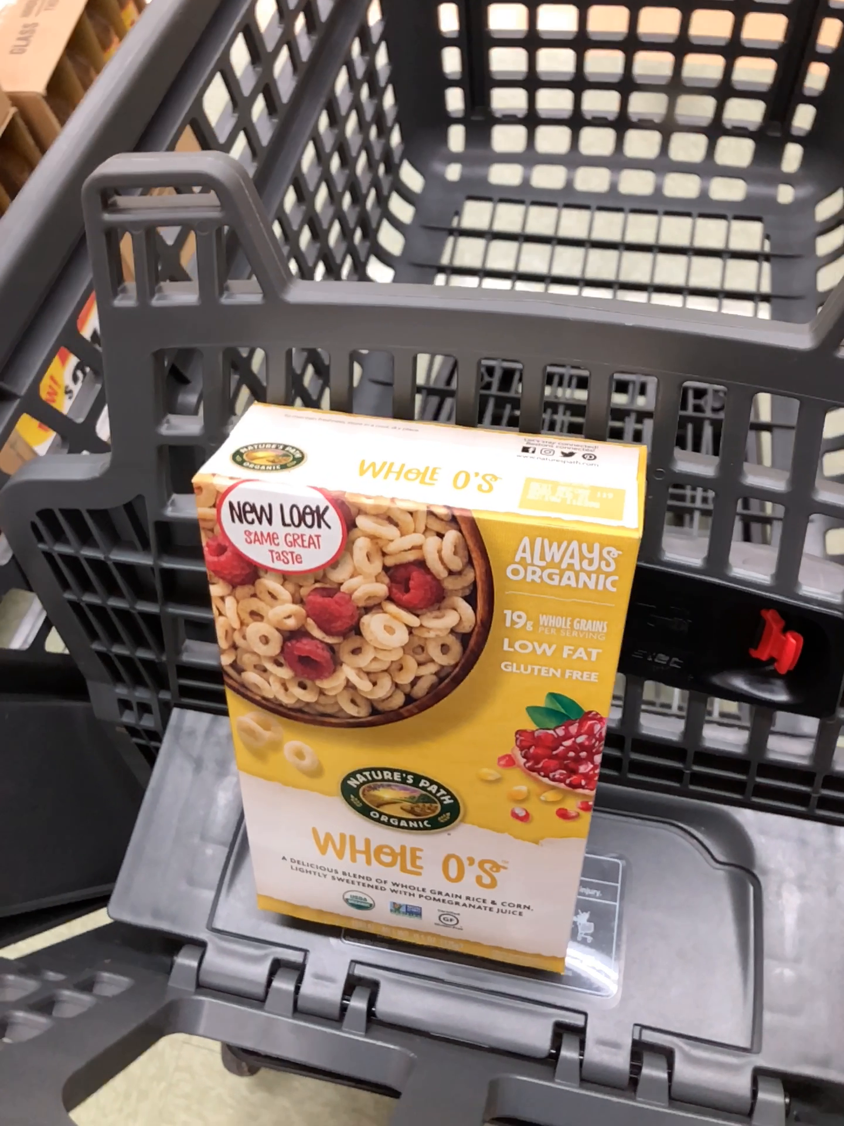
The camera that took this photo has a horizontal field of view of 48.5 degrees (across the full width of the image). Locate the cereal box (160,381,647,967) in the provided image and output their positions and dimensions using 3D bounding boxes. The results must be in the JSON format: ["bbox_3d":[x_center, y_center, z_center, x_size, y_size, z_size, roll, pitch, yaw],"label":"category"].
[{"bbox_3d":[-0.005,0.059,0.401,0.160,0.250,0.060,9,37,11],"label":"cereal box"}]
